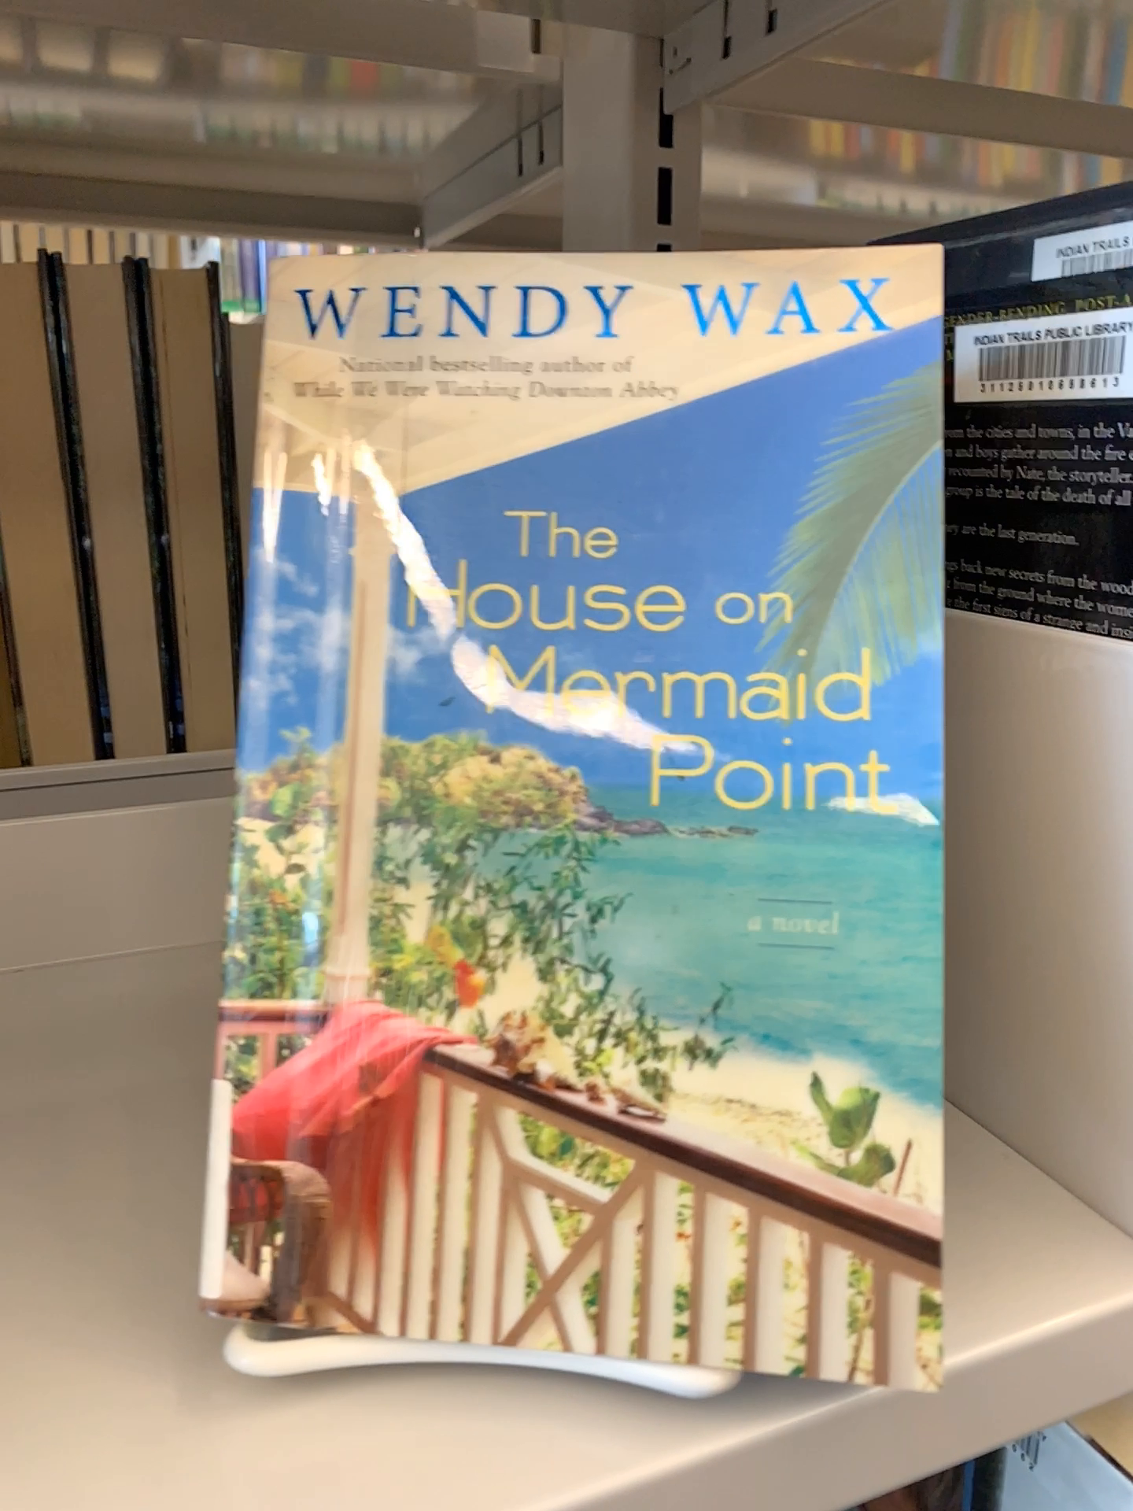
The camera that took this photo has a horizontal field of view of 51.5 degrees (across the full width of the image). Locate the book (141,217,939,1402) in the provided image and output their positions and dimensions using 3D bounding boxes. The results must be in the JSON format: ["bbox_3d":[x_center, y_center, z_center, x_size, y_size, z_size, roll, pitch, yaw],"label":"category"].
[{"bbox_3d":[-0.002,0.004,0.221,0.131,0.193,0.043,1,-5,8],"label":"book"}]
